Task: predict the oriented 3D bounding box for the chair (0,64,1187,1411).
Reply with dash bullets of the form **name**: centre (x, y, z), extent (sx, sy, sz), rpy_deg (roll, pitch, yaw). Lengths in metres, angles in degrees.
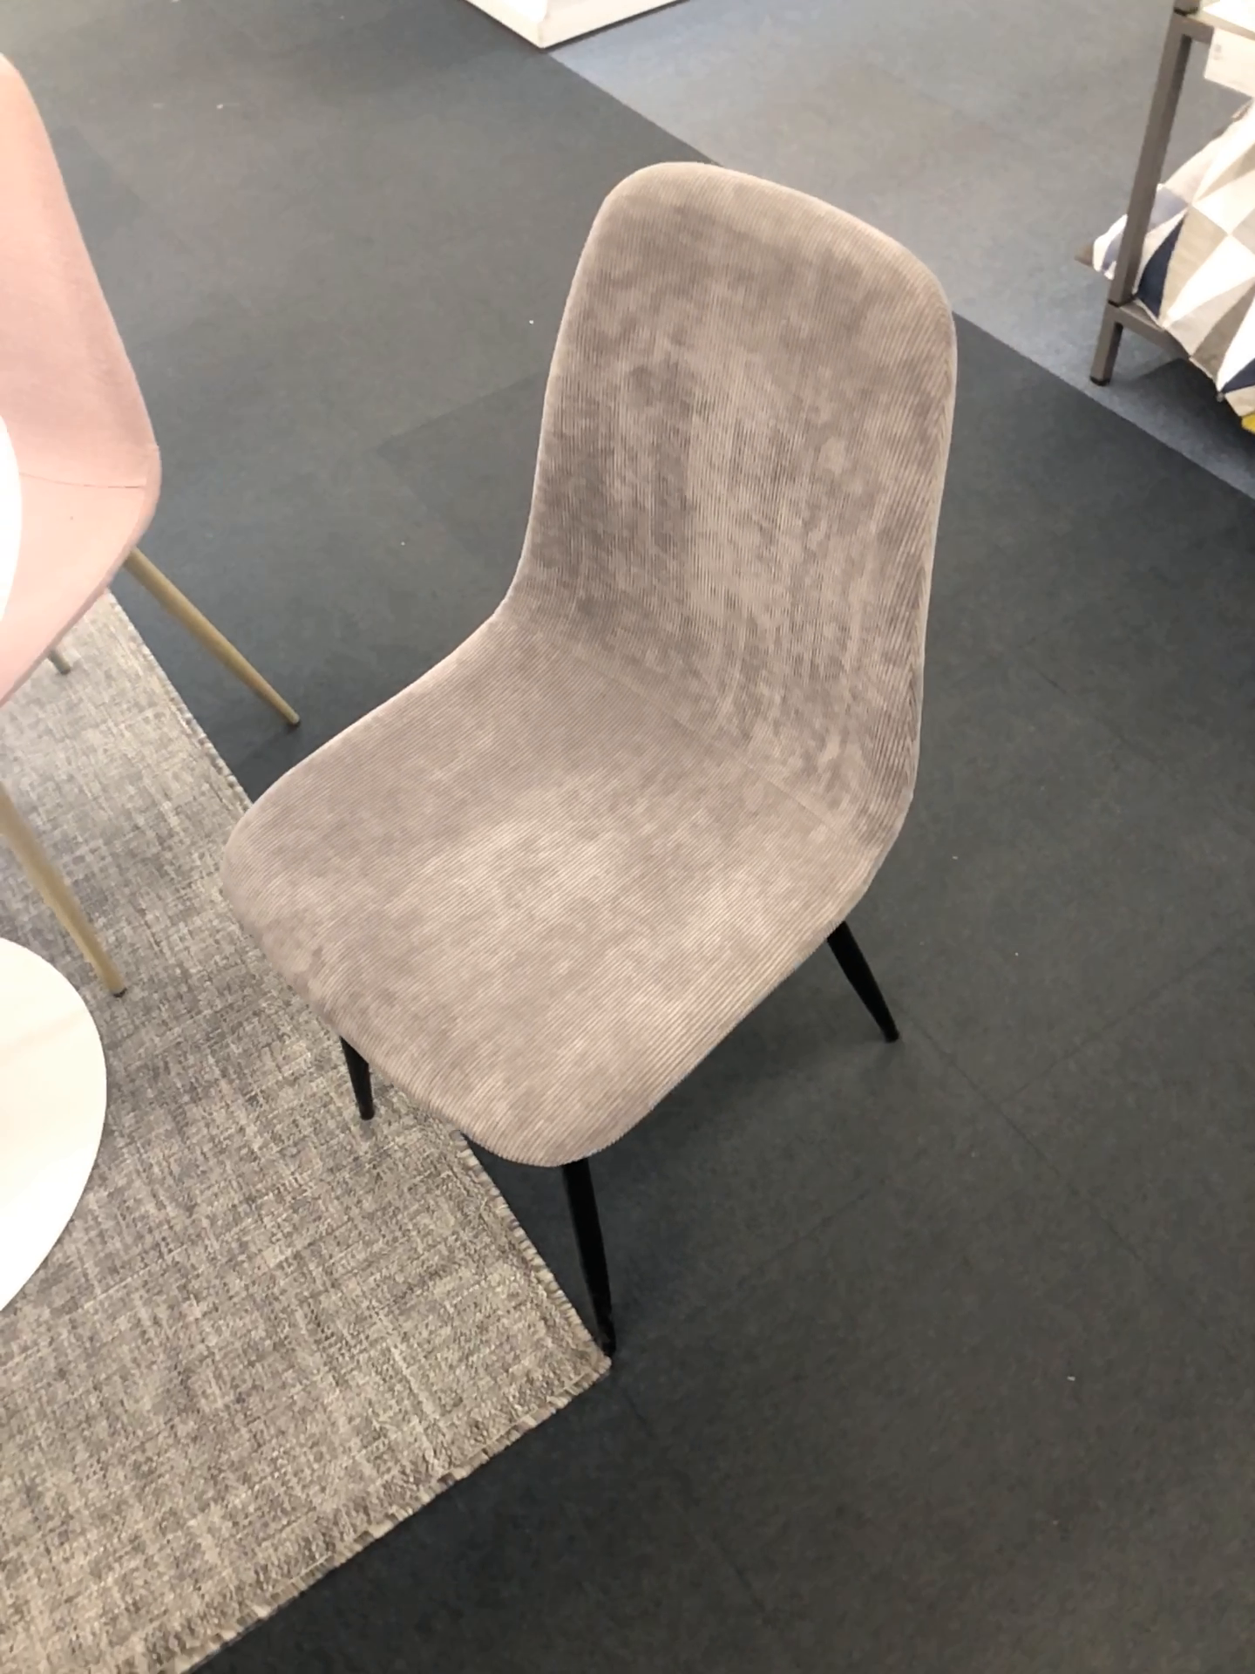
- **chair**: centre (-0.045, -0.051, 1.174), extent (0.581, 0.808, 0.581), rpy_deg (-39, 59, -23)
